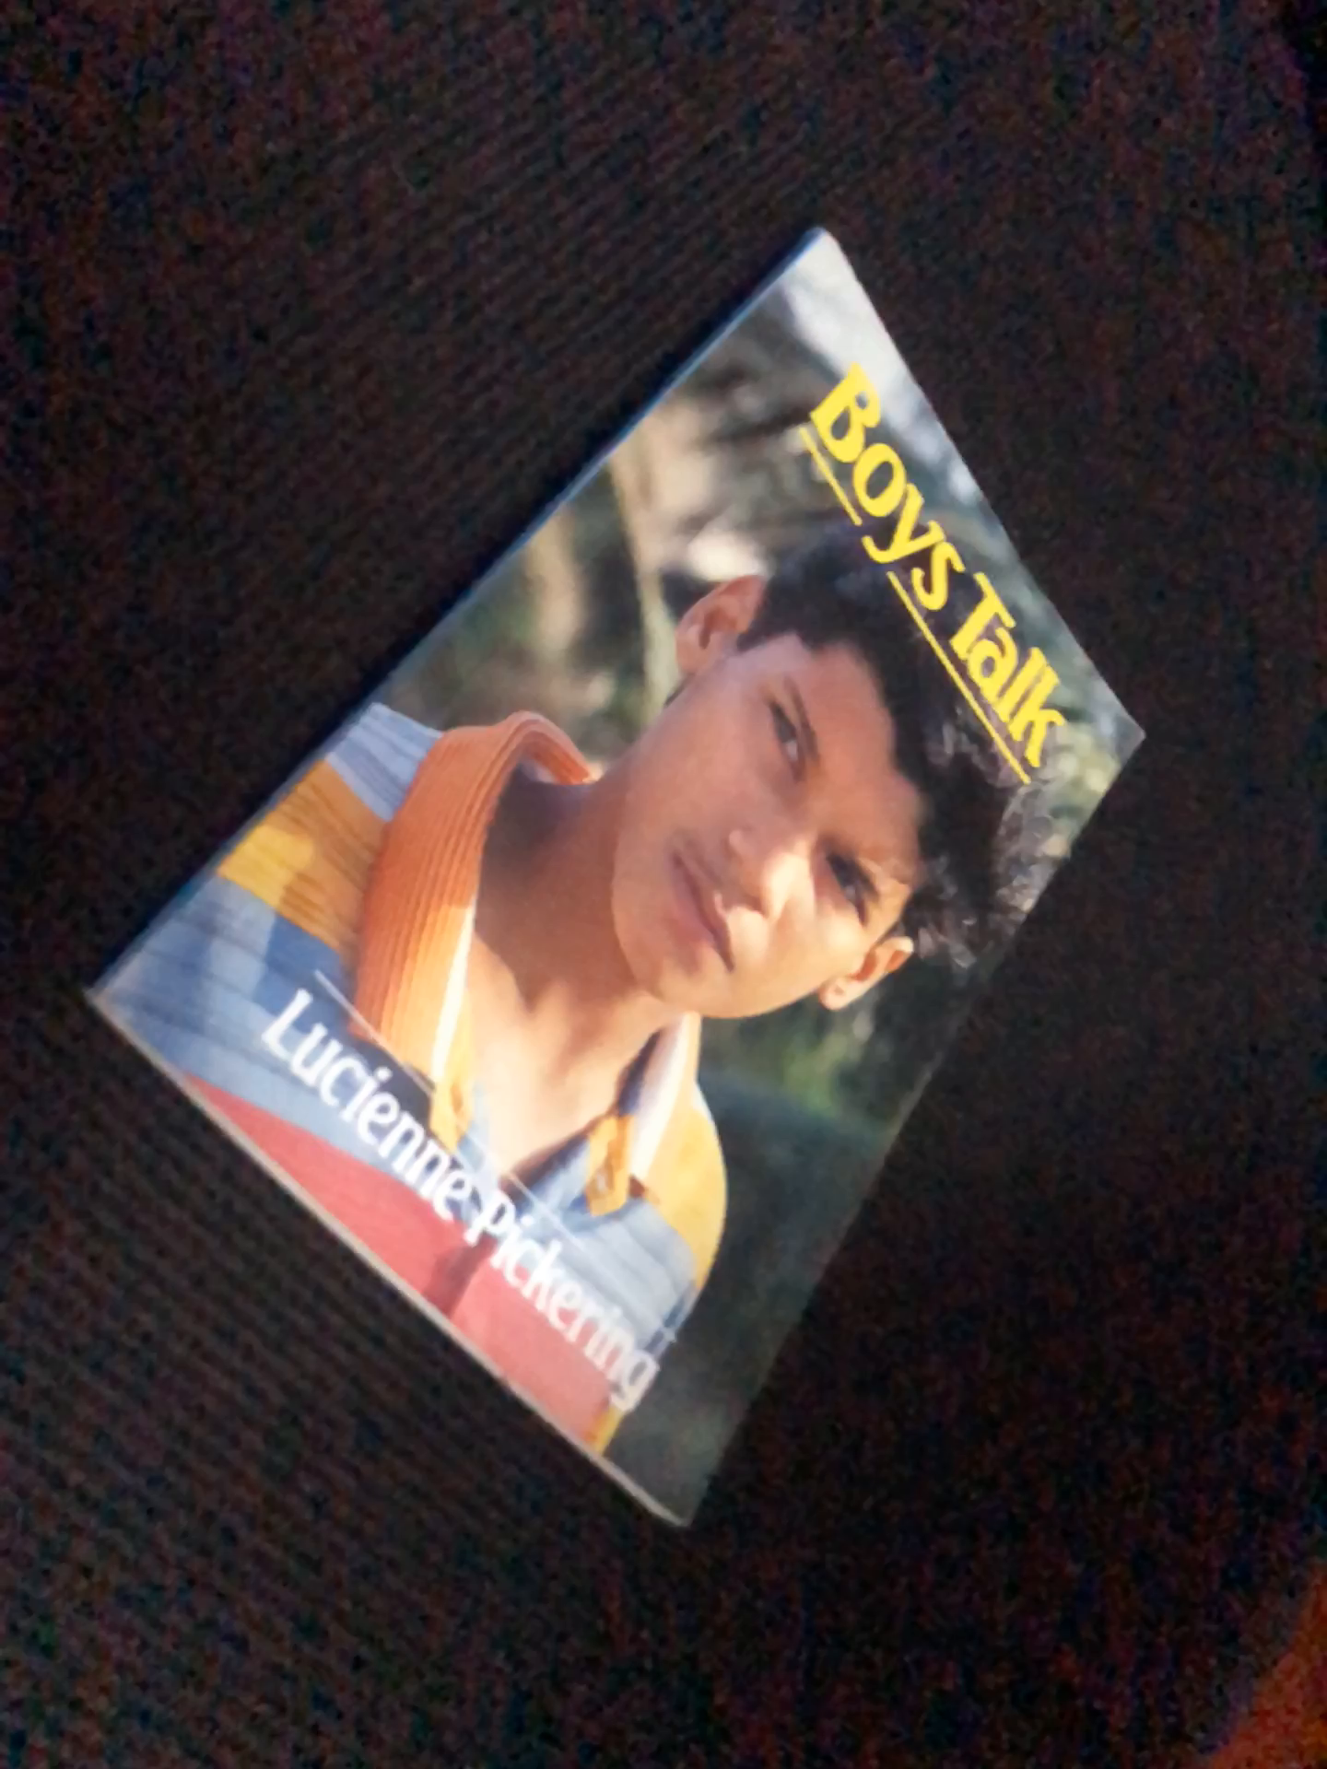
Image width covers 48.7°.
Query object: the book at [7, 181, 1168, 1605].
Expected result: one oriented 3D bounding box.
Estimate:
[{"bbox_3d":[0.015,-0.007,0.237,0.131,0.010,0.191,51,59,-26],"label":"book"}]
